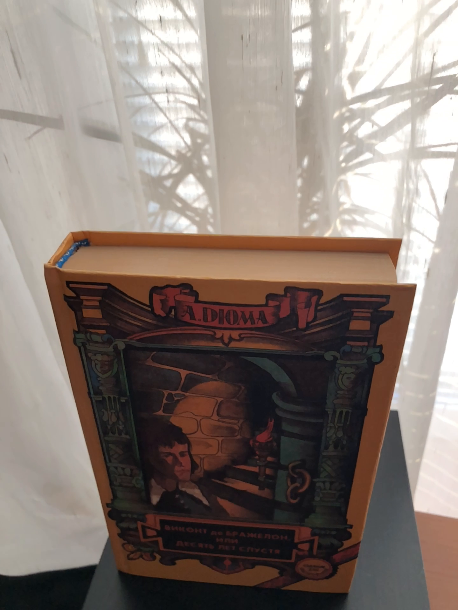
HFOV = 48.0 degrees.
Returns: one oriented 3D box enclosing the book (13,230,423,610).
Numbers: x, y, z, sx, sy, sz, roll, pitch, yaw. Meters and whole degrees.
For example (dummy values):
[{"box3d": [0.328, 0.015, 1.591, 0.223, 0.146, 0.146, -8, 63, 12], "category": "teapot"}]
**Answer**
[{"box3d": [-0.001, 0.065, 0.244, 0.141, 0.197, 0.040, 2, 33, 8], "category": "book"}]
